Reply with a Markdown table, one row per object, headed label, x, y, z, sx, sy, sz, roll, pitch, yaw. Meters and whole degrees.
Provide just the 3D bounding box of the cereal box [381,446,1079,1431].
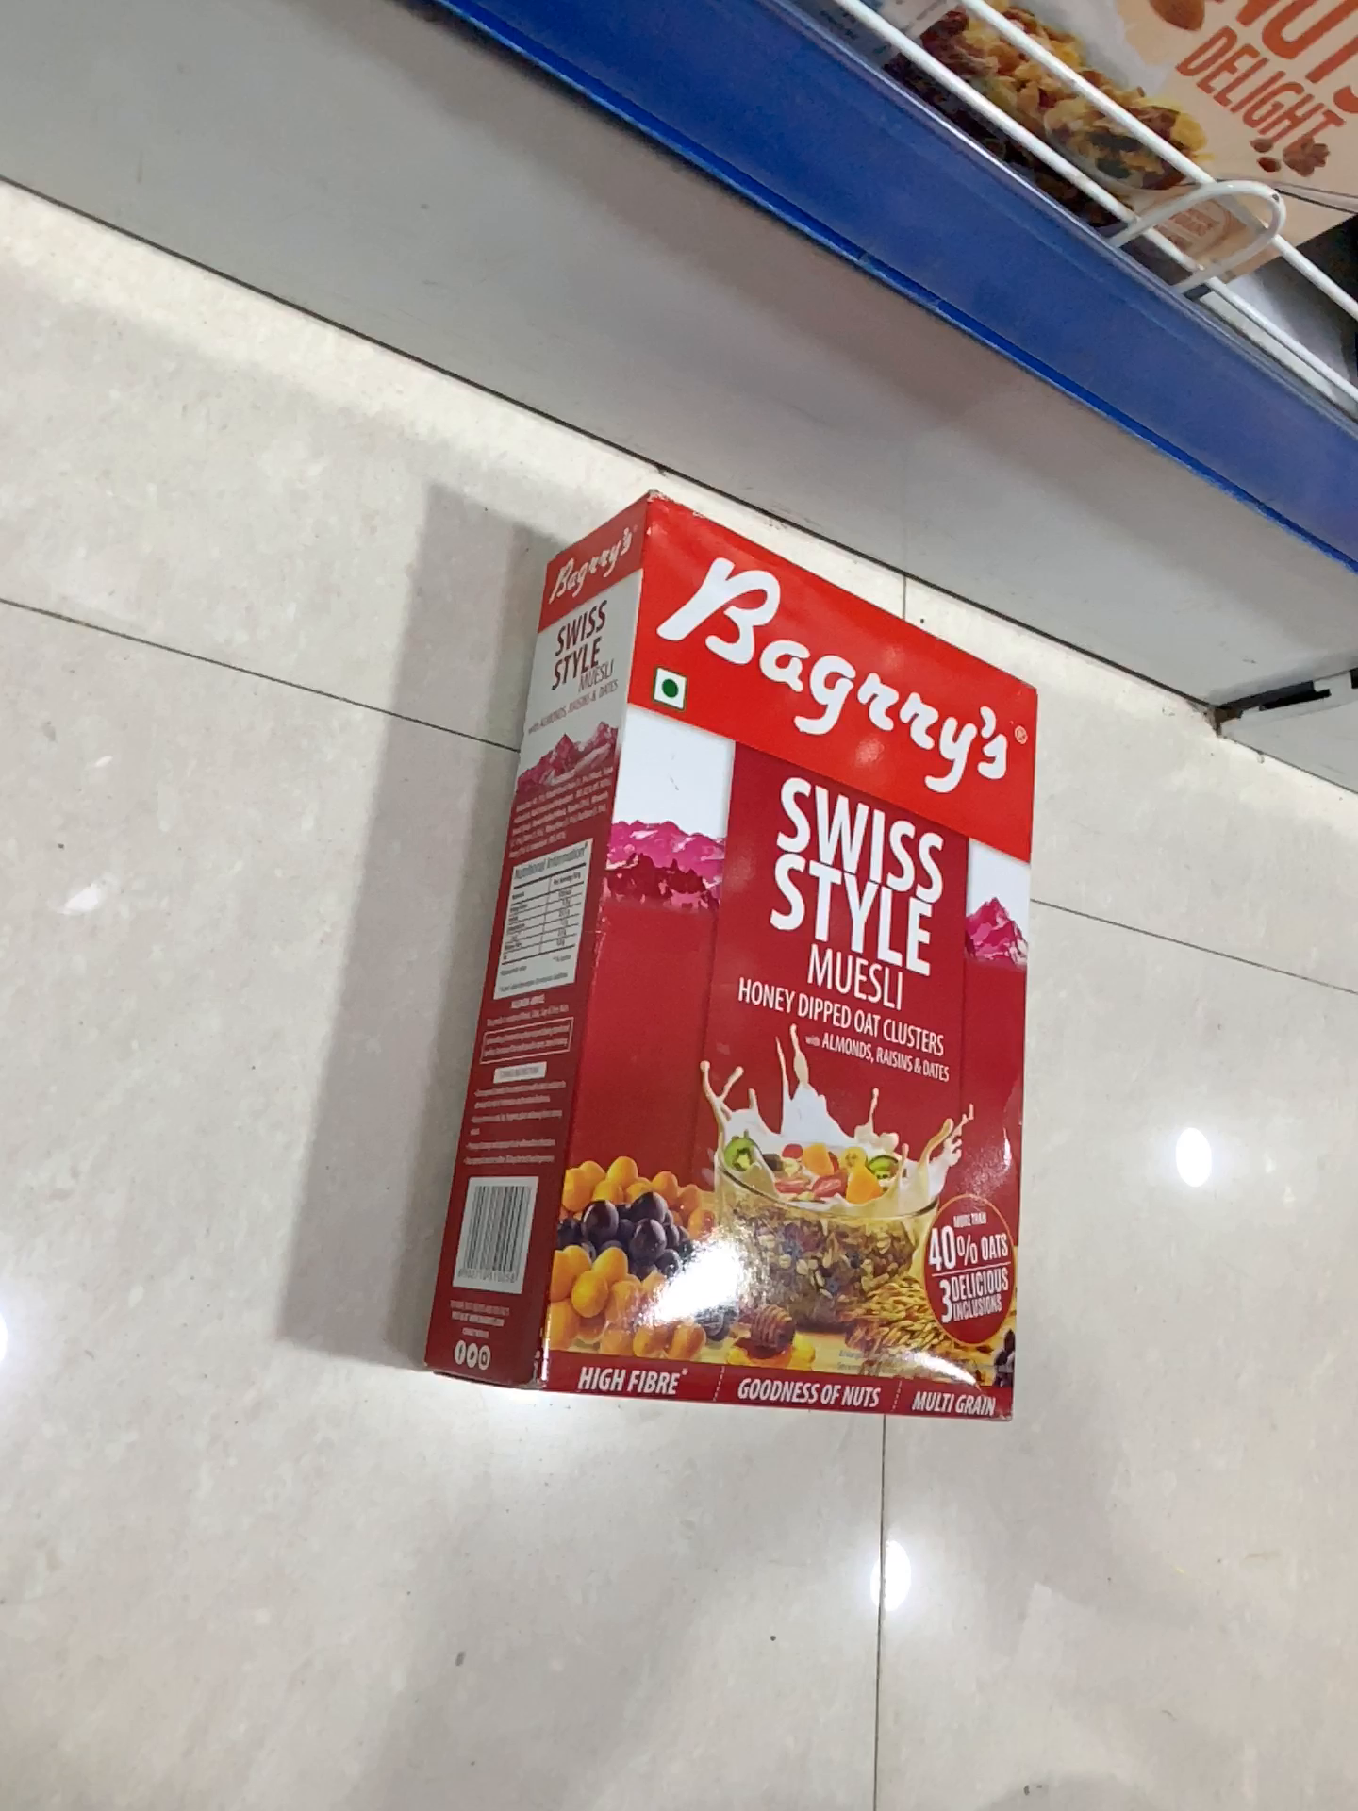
| label | x | y | z | sx | sy | sz | roll | pitch | yaw |
| --- | --- | --- | --- | --- | --- | --- | --- | --- | --- |
| cereal box | 0.031 | 0.022 | 0.449 | 0.191 | 0.080 | 0.260 | 18 | 72 | -34 |
